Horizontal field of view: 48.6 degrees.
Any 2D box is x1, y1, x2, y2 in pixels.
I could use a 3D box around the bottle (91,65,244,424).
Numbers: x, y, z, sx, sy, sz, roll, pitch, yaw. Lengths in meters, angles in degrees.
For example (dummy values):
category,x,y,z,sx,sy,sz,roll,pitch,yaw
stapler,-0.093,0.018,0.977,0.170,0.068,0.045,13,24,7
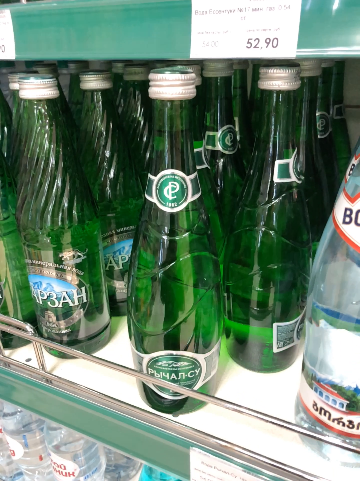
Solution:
category,x,y,z,sx,sy,sz,roll,pitch,yaw
bottle,-0.002,0.014,0.296,0.080,0.259,0.070,-1,25,2
